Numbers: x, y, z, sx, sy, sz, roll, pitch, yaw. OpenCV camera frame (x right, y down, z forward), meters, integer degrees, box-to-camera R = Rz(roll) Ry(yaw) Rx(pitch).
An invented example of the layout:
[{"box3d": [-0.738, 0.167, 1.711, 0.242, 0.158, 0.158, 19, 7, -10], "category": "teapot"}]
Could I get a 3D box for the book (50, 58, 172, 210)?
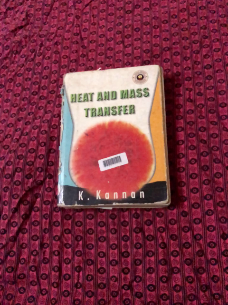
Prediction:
[{"box3d": [-0.004, -0.032, 0.432, 0.185, 0.040, 0.250, -2, 73, 9], "category": "book"}]
